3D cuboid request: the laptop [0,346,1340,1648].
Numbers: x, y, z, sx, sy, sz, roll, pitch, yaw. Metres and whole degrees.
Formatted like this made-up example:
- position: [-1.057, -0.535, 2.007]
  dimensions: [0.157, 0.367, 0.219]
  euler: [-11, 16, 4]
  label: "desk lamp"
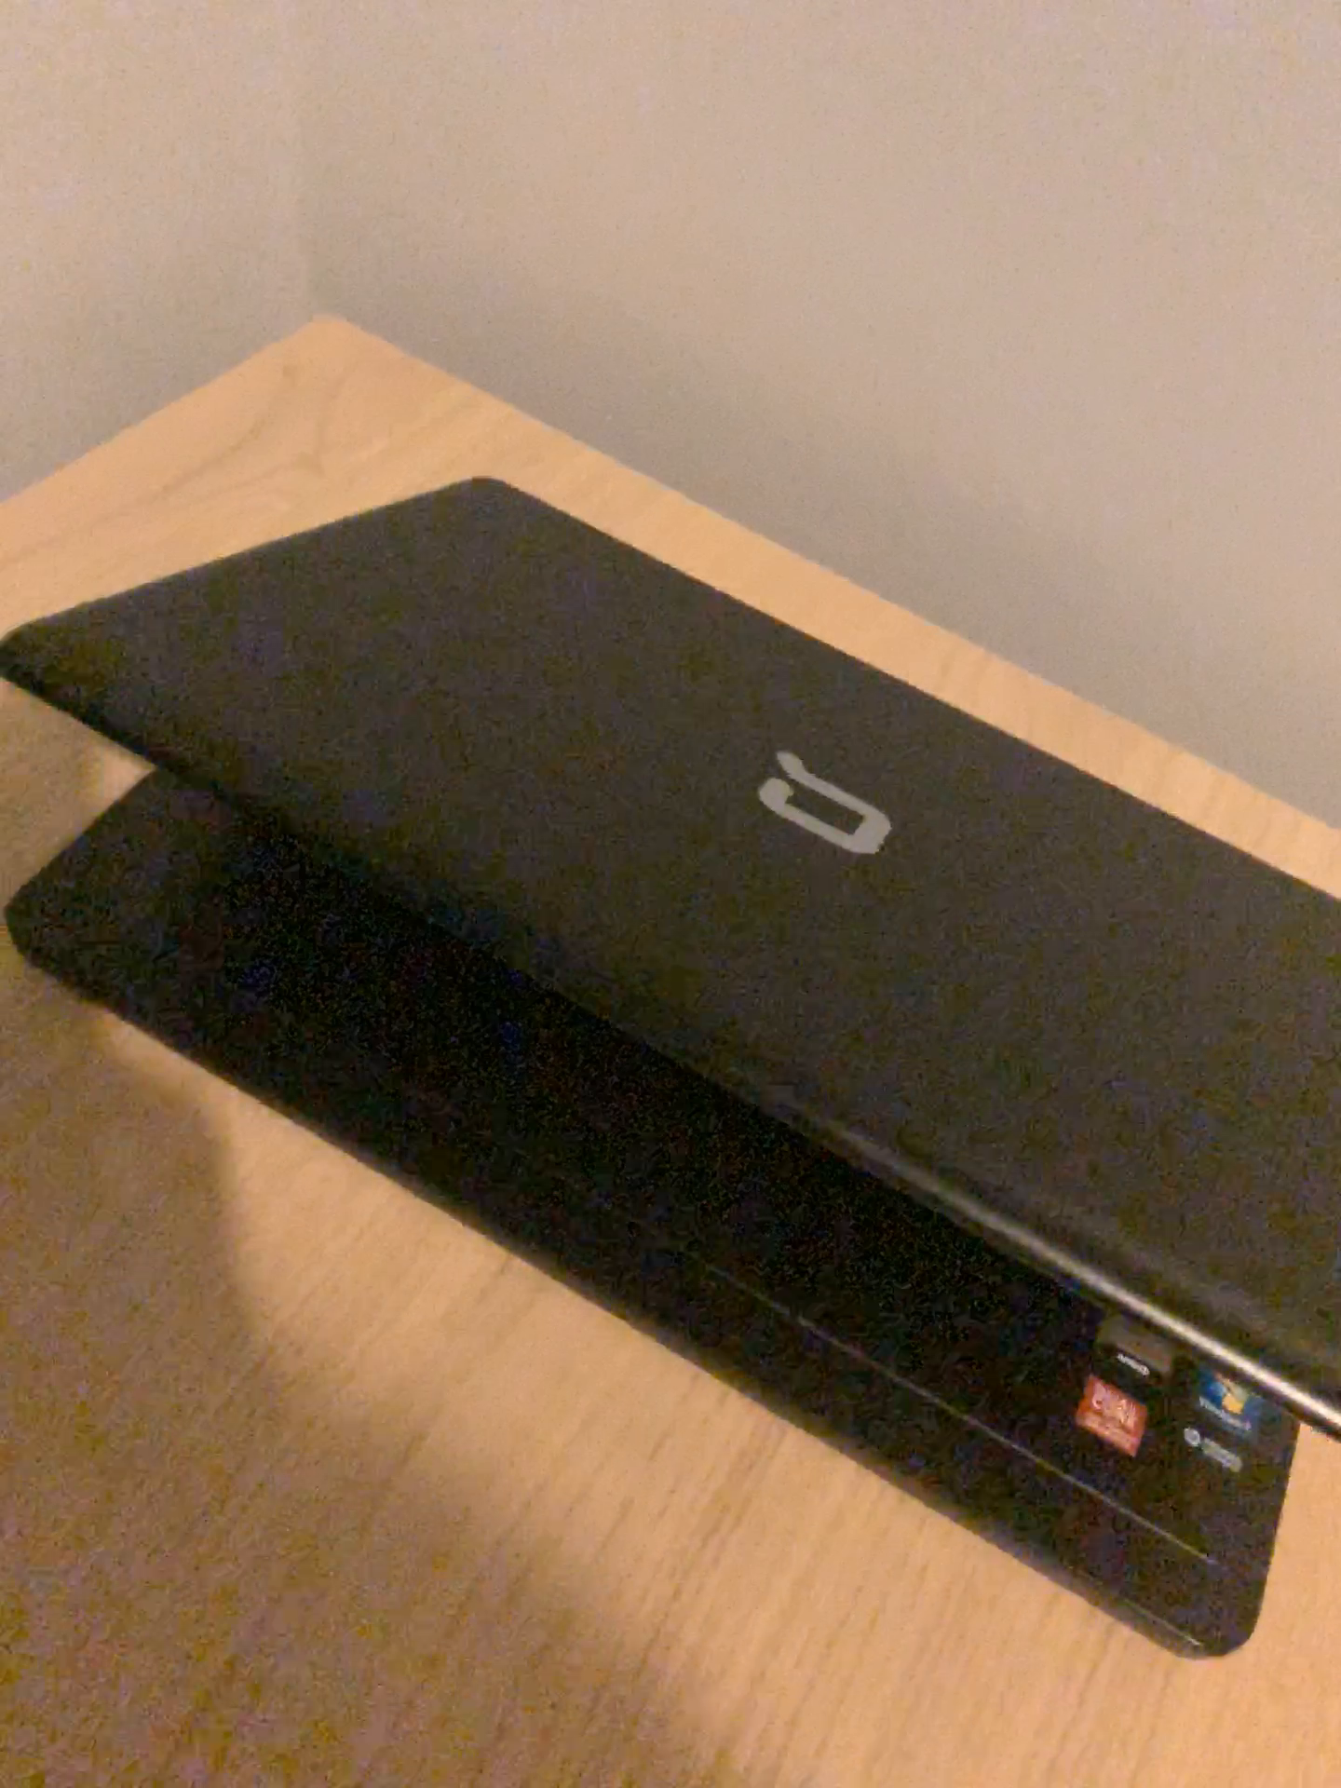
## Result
- position: [0.032, -0.003, 0.399]
  dimensions: [0.373, 0.064, 0.224]
  euler: [28, 55, 10]
  label: "laptop"
